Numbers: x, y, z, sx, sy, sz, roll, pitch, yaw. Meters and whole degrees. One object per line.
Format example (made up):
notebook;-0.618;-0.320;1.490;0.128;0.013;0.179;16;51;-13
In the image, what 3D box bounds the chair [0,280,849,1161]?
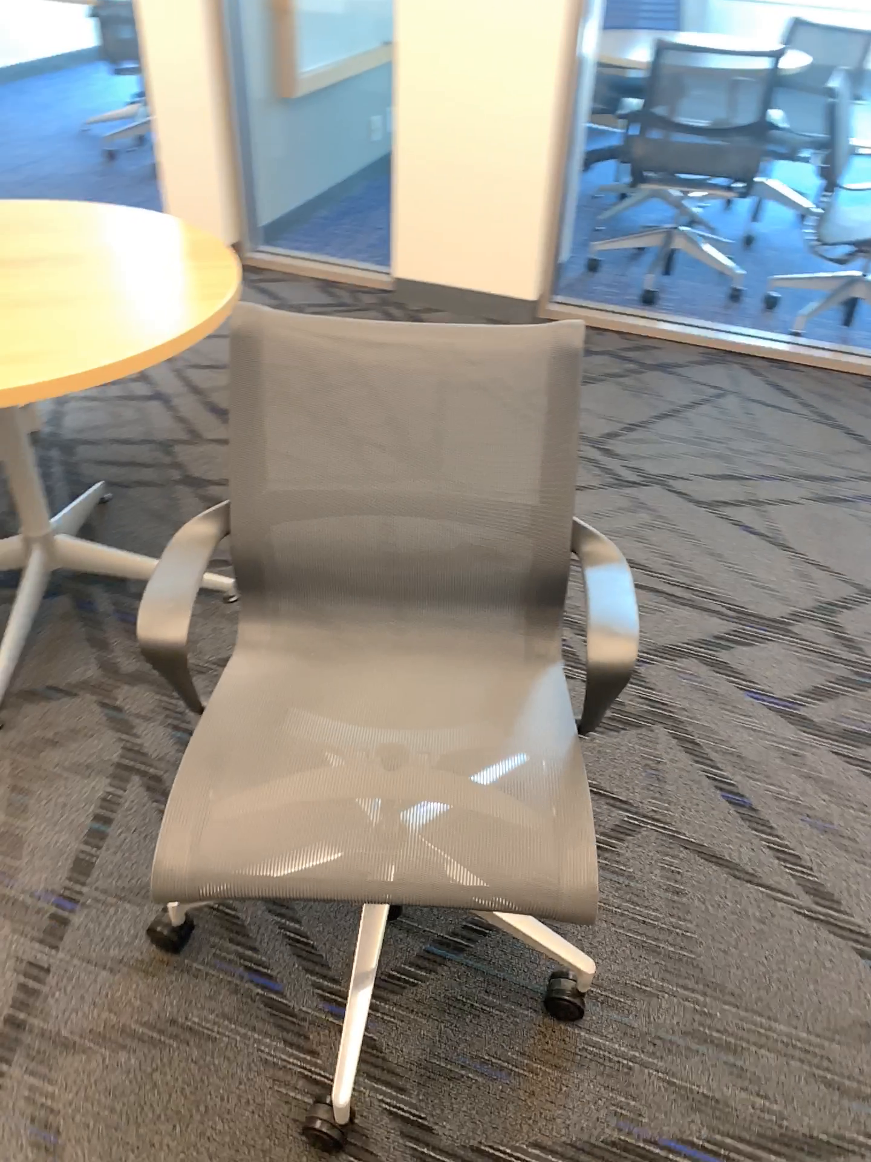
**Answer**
chair;-0.107;0.160;1.033;0.680;0.753;0.707;1;38;-2
